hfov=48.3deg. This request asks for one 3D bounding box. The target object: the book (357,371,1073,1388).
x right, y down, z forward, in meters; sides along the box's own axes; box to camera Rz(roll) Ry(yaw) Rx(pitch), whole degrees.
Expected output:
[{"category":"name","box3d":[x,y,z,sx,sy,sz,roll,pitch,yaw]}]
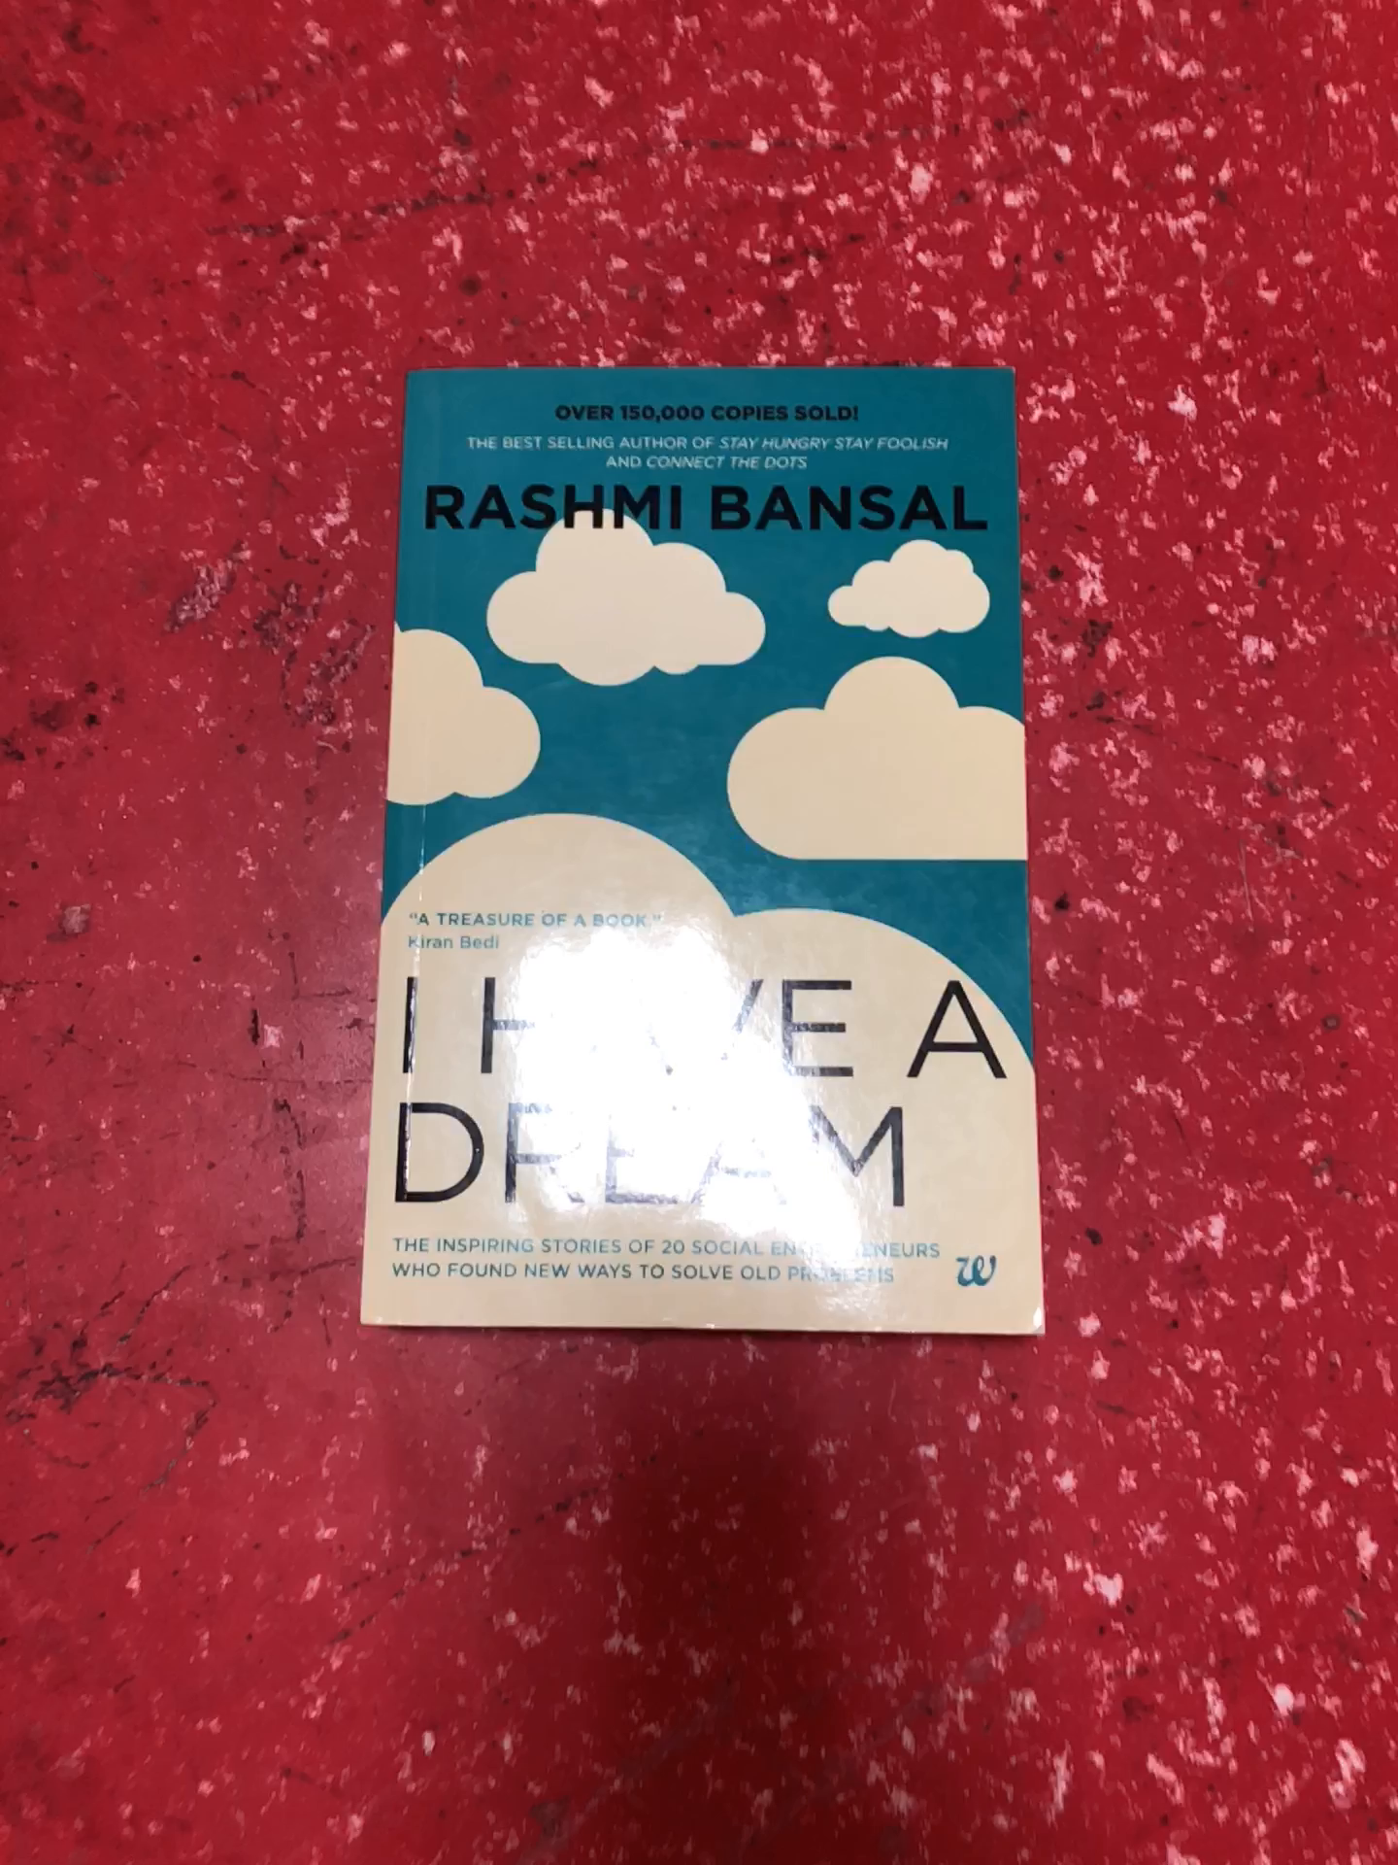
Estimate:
[{"category":"book","box3d":[0.003,-0.013,0.316,0.130,0.030,0.200,0,80,1]}]
